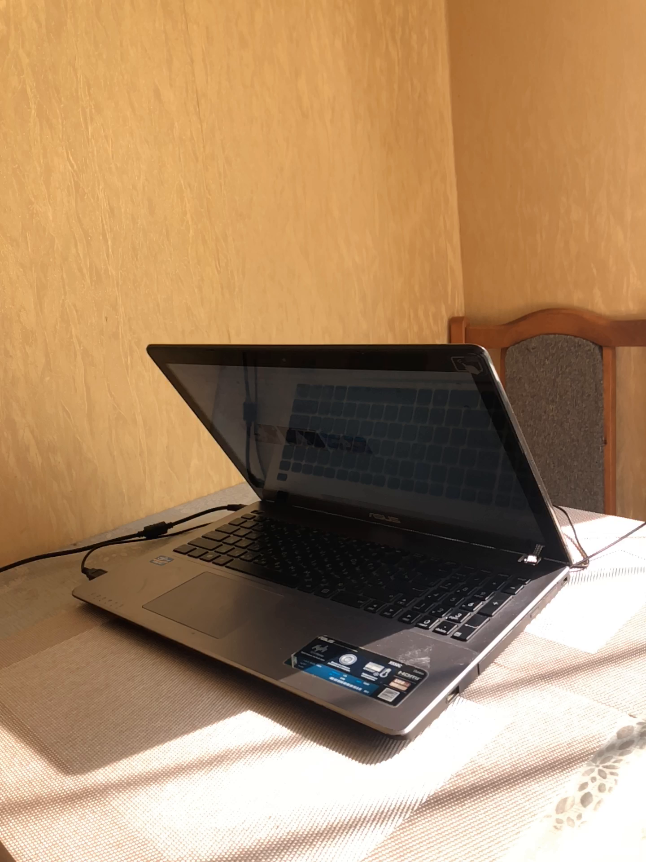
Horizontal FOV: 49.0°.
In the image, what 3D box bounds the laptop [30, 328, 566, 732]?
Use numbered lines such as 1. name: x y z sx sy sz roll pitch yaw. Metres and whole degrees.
1. laptop: -0.027 0.034 0.602 0.370 0.196 0.243 6 19 41
